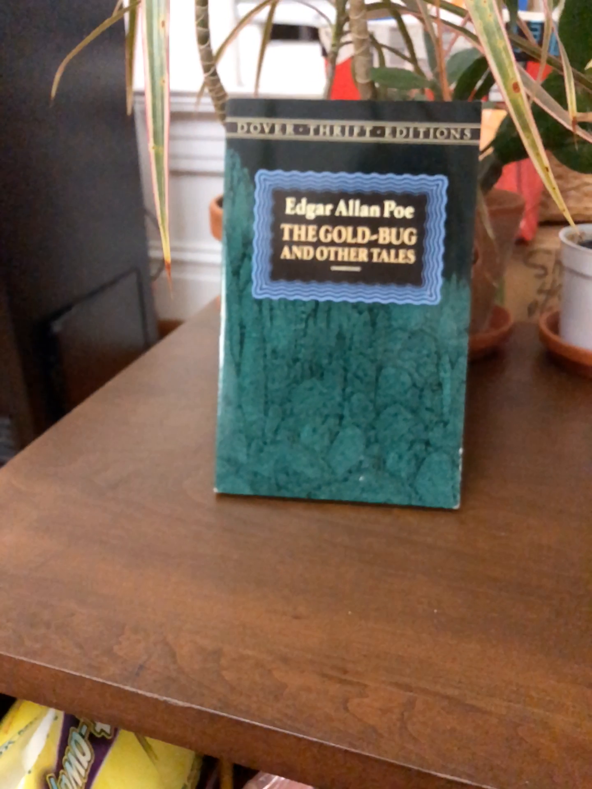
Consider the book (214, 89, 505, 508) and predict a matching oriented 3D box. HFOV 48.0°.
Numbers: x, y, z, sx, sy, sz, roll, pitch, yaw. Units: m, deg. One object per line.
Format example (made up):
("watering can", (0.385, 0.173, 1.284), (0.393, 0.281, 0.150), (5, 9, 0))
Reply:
("book", (0.031, -0.050, 0.353), (0.140, 0.210, 0.020), (3, 3, 5))
